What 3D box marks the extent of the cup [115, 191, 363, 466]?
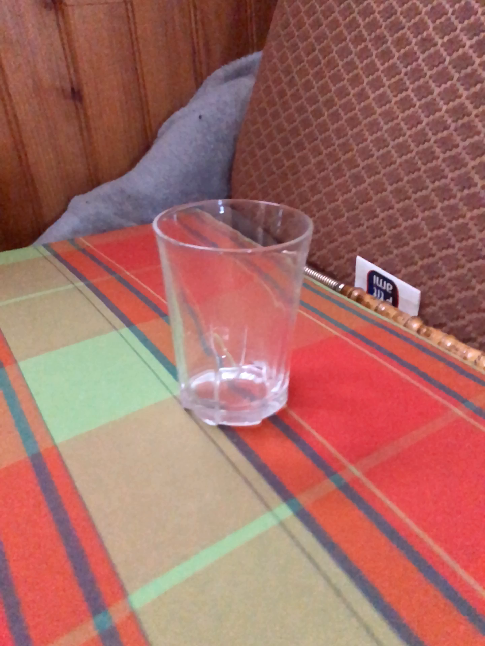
[{"bbox_3d":[0.000,-0.003,0.232,0.070,0.080,0.070,0,30,0],"label":"cup"}]
